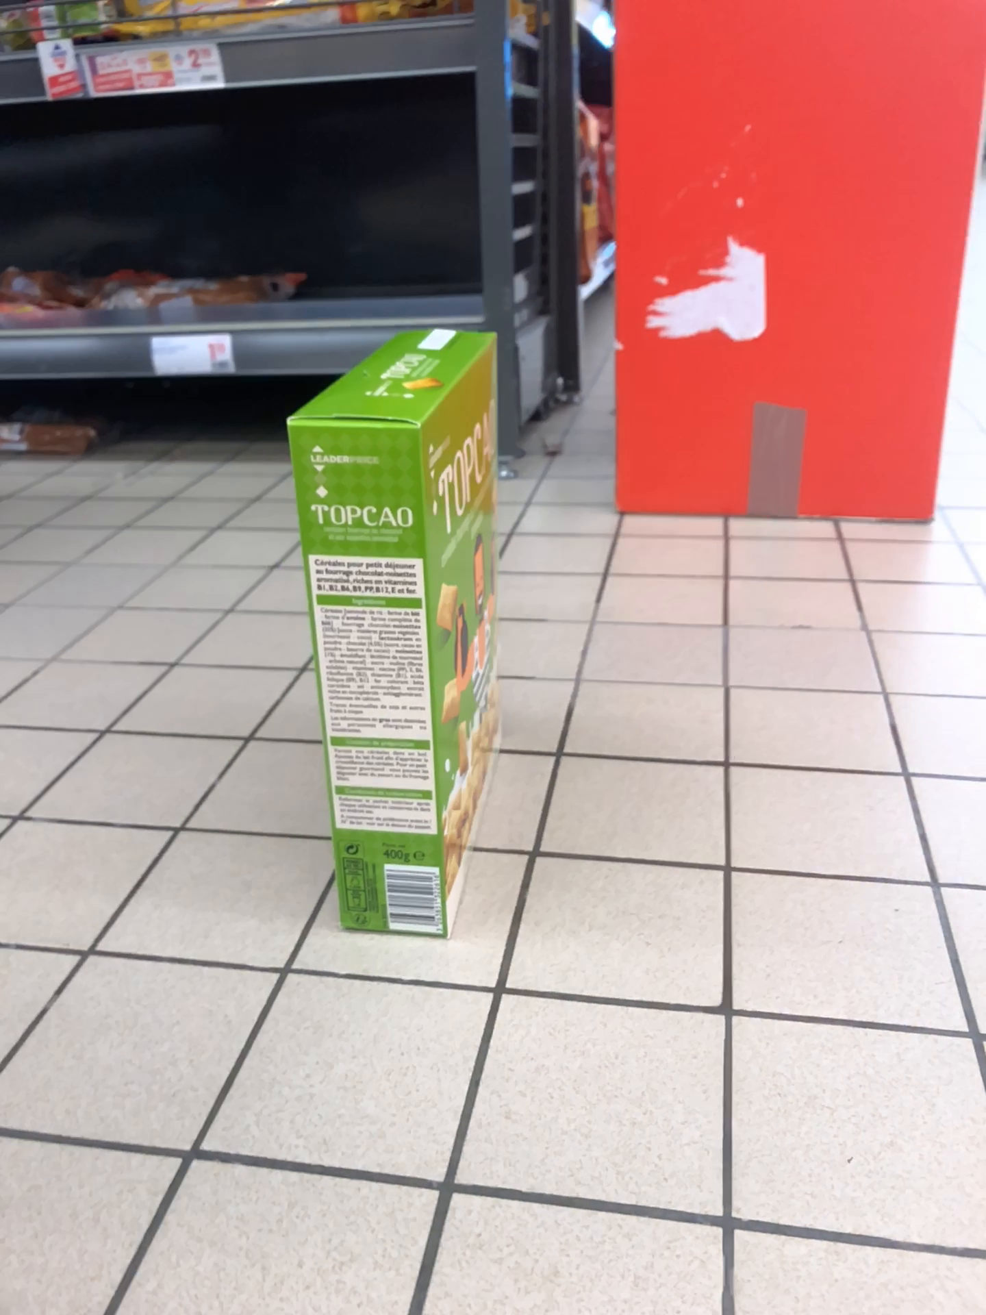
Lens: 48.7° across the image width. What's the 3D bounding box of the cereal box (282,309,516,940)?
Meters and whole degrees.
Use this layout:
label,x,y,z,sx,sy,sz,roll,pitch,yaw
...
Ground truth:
label,x,y,z,sx,sy,sz,roll,pitch,yaw
cereal box,-0.033,-0.027,0.543,0.060,0.249,0.201,4,27,8
